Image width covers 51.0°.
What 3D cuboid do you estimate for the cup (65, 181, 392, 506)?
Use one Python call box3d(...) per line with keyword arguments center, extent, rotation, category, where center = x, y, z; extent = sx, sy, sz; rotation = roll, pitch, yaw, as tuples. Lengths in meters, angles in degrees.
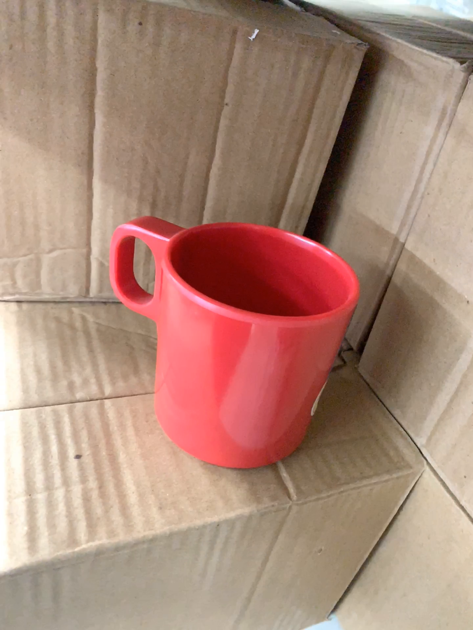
box3d(center=(-0.007, 0.004, 0.203), extent=(0.104, 0.073, 0.066), rotation=(28, 38, 23), category="cup")
